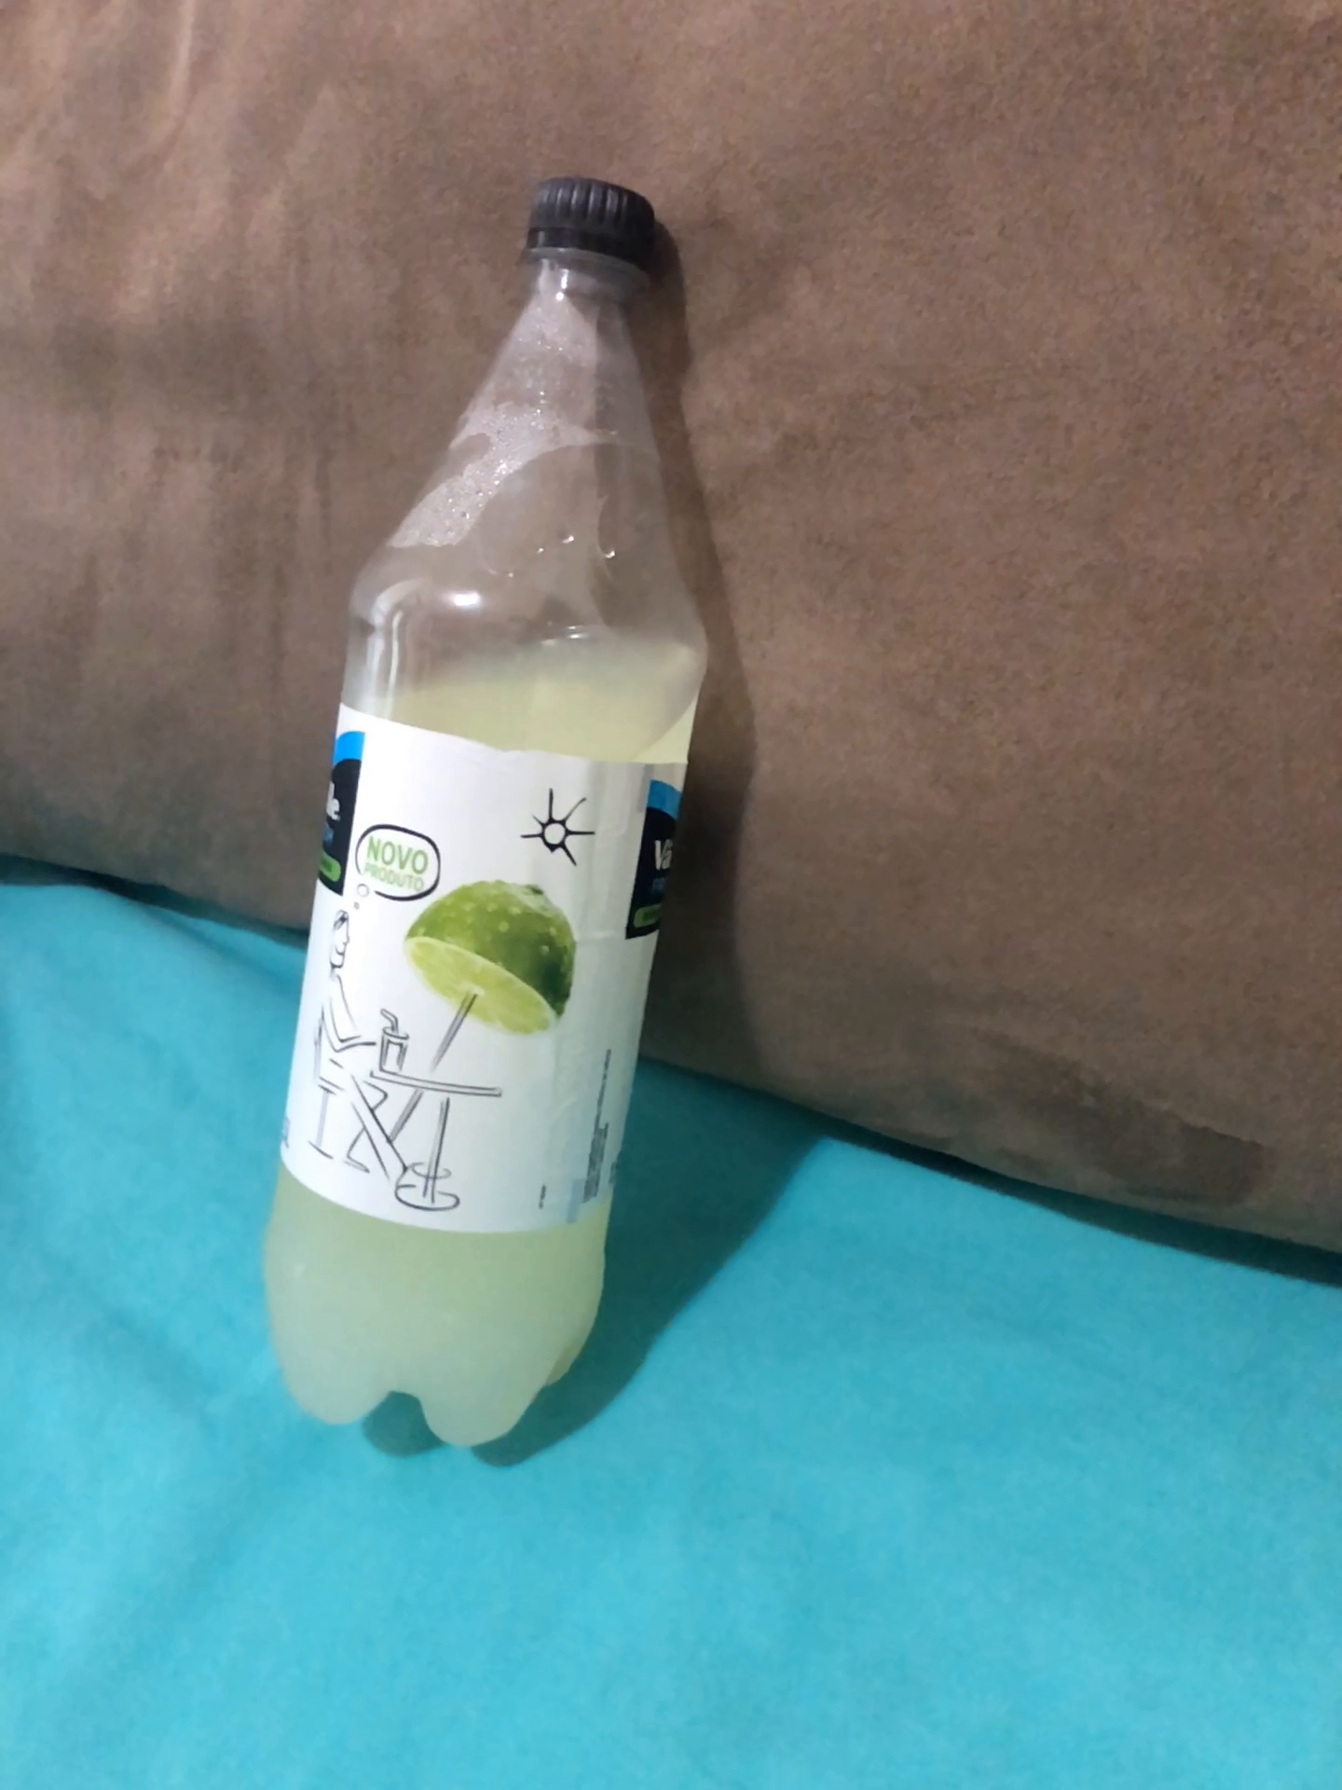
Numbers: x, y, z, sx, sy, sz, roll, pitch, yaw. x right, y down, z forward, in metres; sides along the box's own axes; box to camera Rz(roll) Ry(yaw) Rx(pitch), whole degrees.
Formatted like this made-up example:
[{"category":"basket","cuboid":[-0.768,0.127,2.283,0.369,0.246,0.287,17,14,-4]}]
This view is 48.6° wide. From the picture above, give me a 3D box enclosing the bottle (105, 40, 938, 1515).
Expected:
[{"category":"bottle","cuboid":[-0.037,-0.030,0.392,0.100,0.330,0.100,15,1,0]}]
